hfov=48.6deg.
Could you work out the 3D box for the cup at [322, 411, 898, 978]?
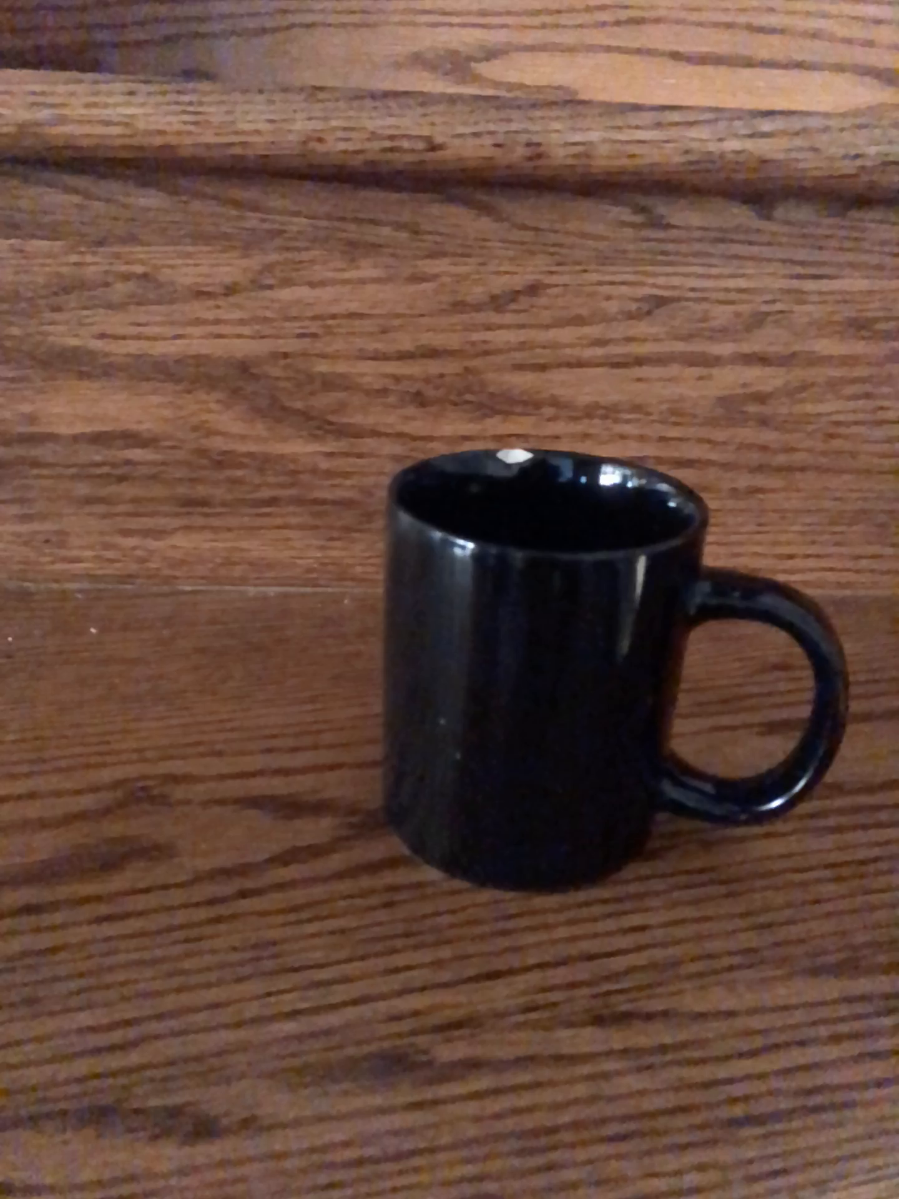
[{"bbox_3d":[0.046,0.016,0.265,0.135,0.095,0.092,9,27,11],"label":"cup"}]
